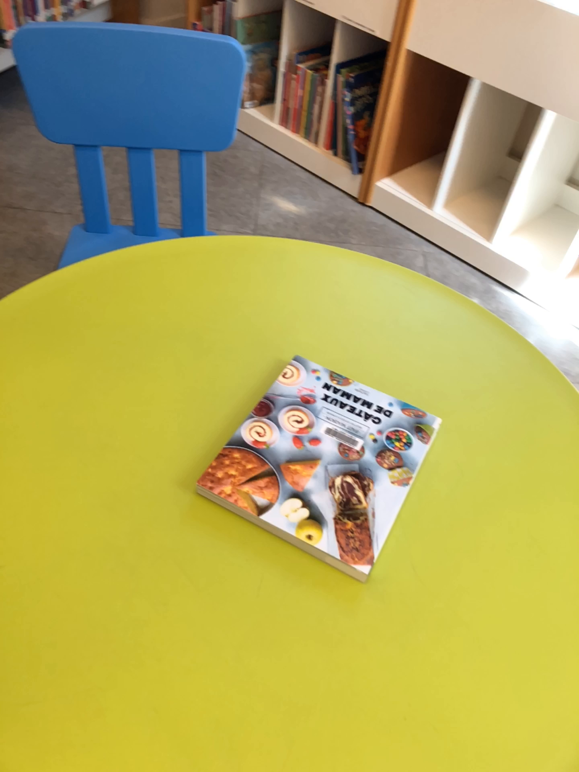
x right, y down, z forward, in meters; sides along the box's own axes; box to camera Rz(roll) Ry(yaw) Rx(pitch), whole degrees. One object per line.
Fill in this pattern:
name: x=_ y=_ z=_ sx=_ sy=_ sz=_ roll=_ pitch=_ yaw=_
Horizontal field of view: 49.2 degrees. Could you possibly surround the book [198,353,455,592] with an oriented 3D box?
book: x=0.049 y=0.076 z=0.687 sx=0.200 sy=0.021 sz=0.230 roll=25 pitch=48 yaw=15
